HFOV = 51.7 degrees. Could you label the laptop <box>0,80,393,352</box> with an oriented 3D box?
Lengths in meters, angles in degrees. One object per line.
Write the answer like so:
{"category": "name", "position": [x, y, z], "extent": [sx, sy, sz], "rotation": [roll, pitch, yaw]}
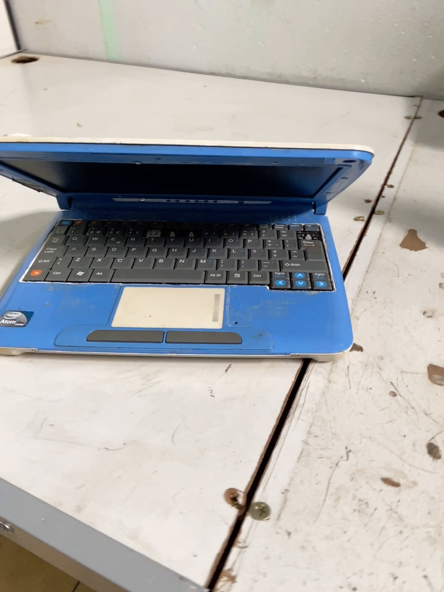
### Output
{"category": "laptop", "position": [-0.036, -0.070, 0.333], "extent": [0.246, 0.116, 0.183], "rotation": [1, 39, 4]}
